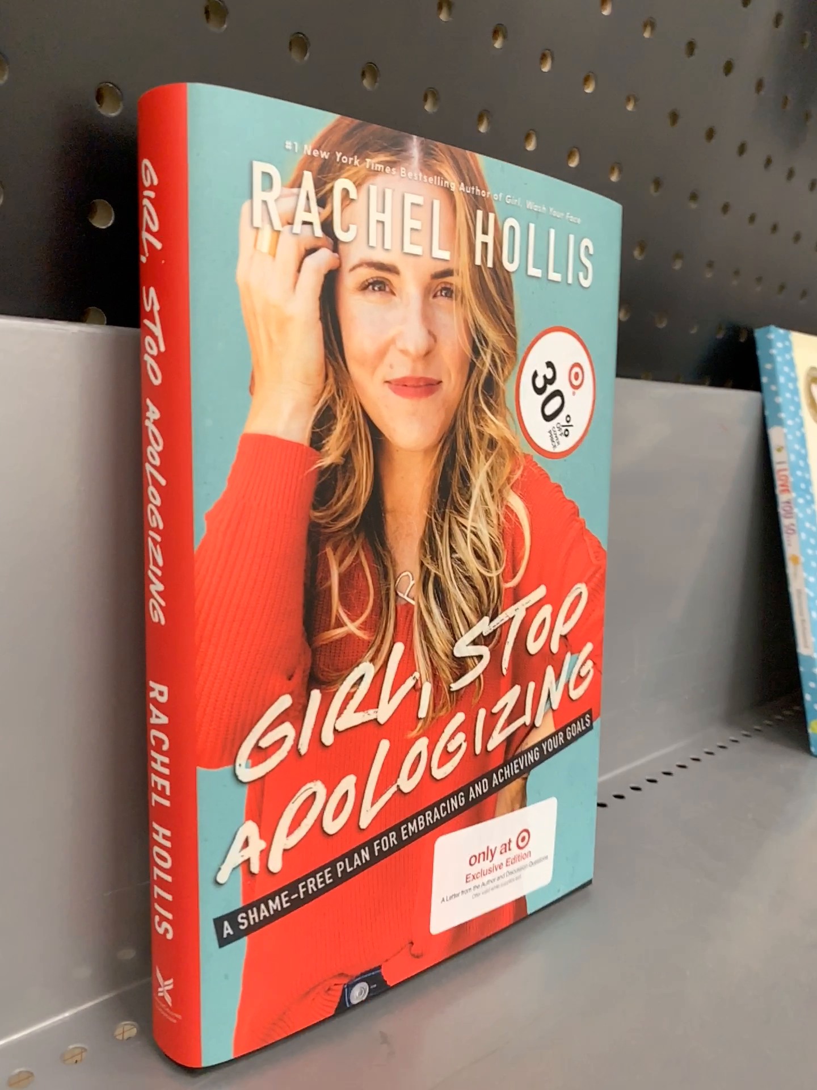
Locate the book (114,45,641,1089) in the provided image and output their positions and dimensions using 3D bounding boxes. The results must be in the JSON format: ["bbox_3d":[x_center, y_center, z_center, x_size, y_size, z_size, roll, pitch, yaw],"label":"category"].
[{"bbox_3d":[0.000,0.006,0.238,0.149,0.220,0.035,-4,8,-39],"label":"book"}]
